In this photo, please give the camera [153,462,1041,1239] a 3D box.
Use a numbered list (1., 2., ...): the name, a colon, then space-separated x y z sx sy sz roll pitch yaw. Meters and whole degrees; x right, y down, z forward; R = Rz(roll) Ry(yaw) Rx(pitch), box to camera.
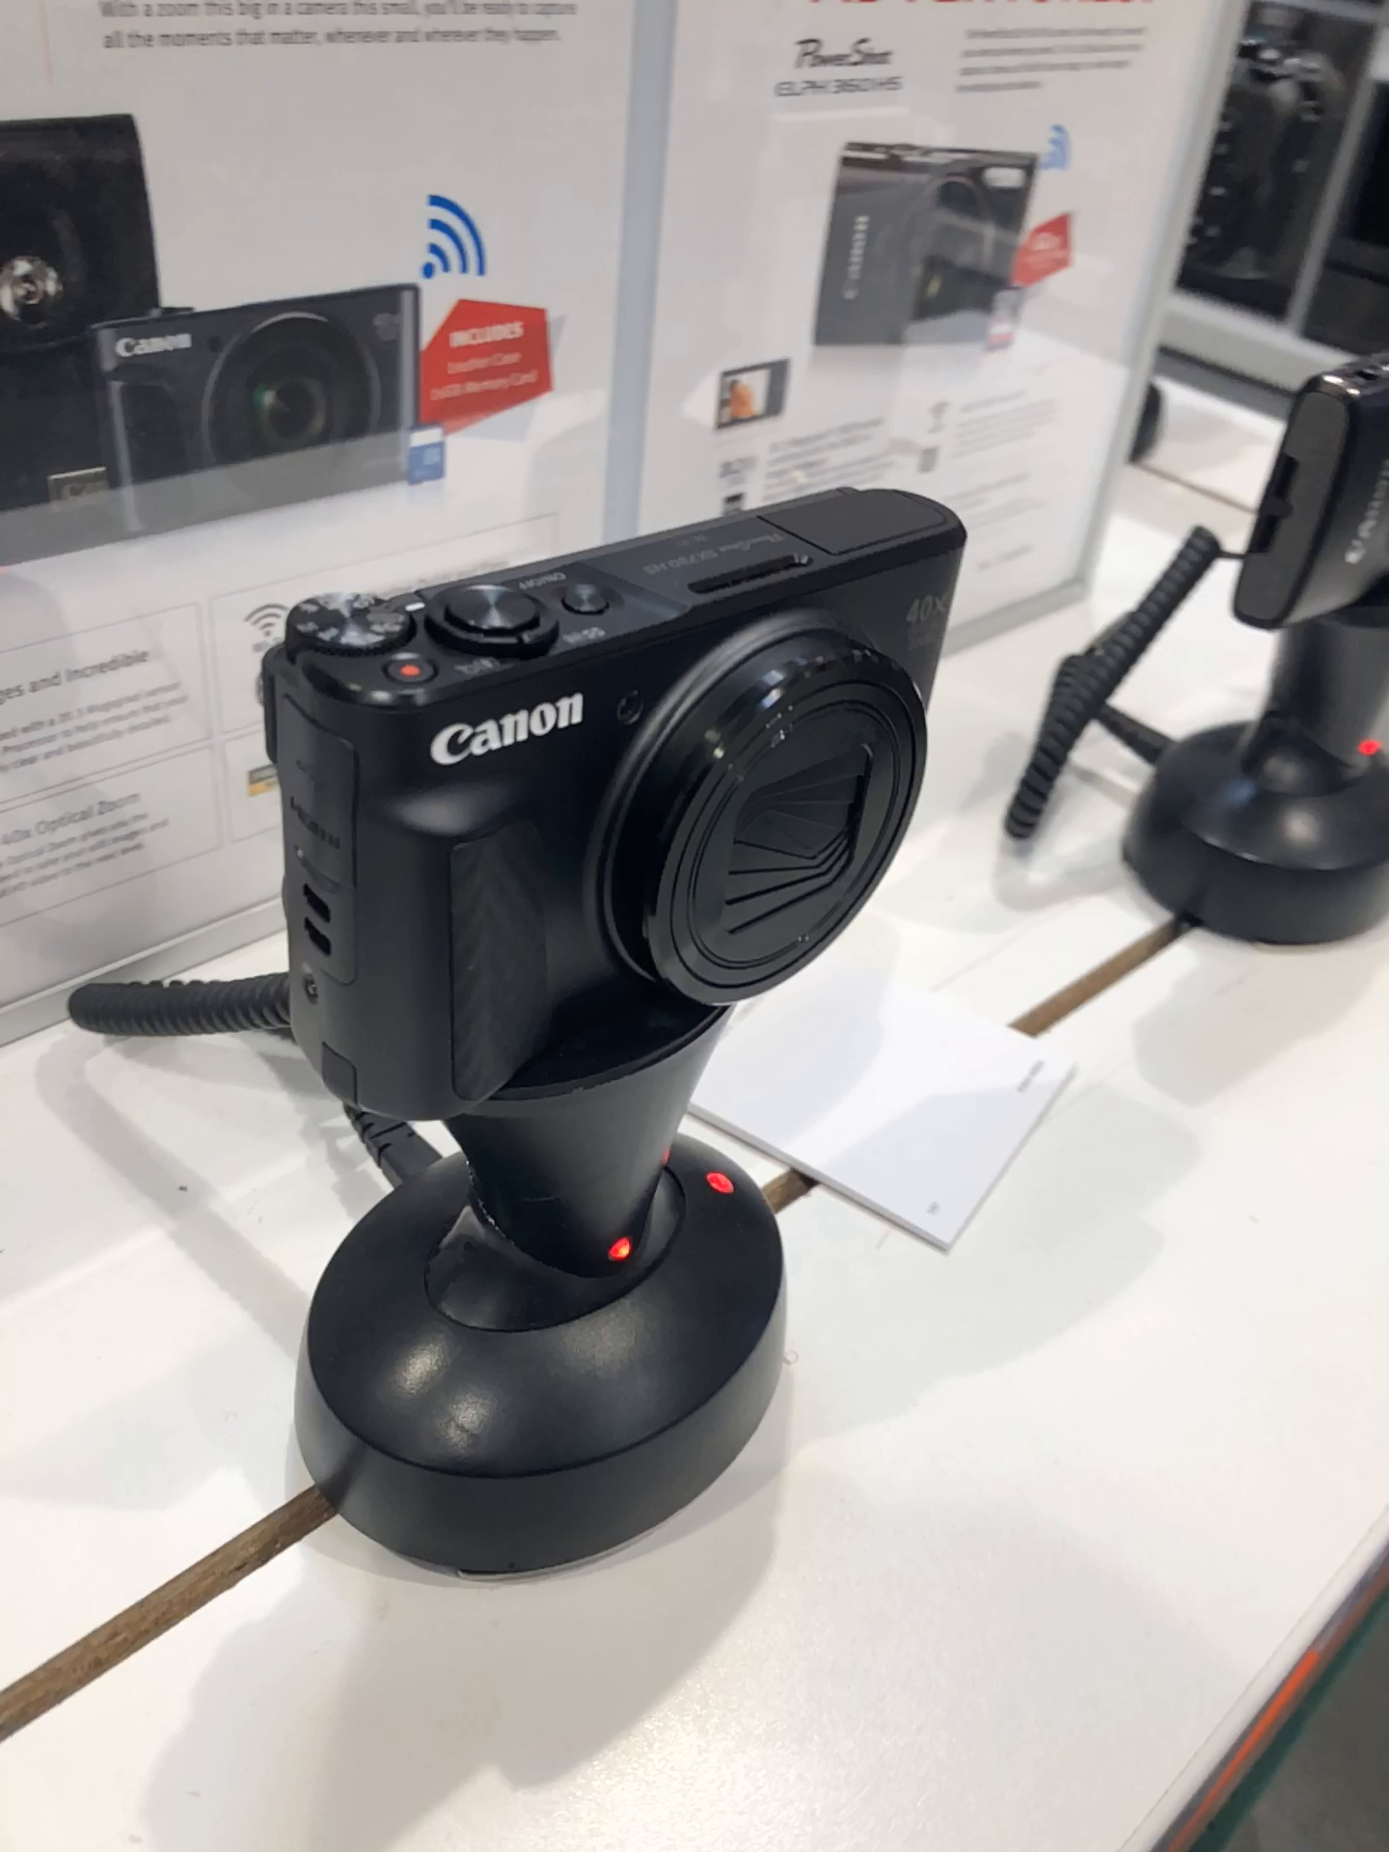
1. camera: -0.010 -0.018 0.225 0.120 0.070 0.040 -24 47 -36
